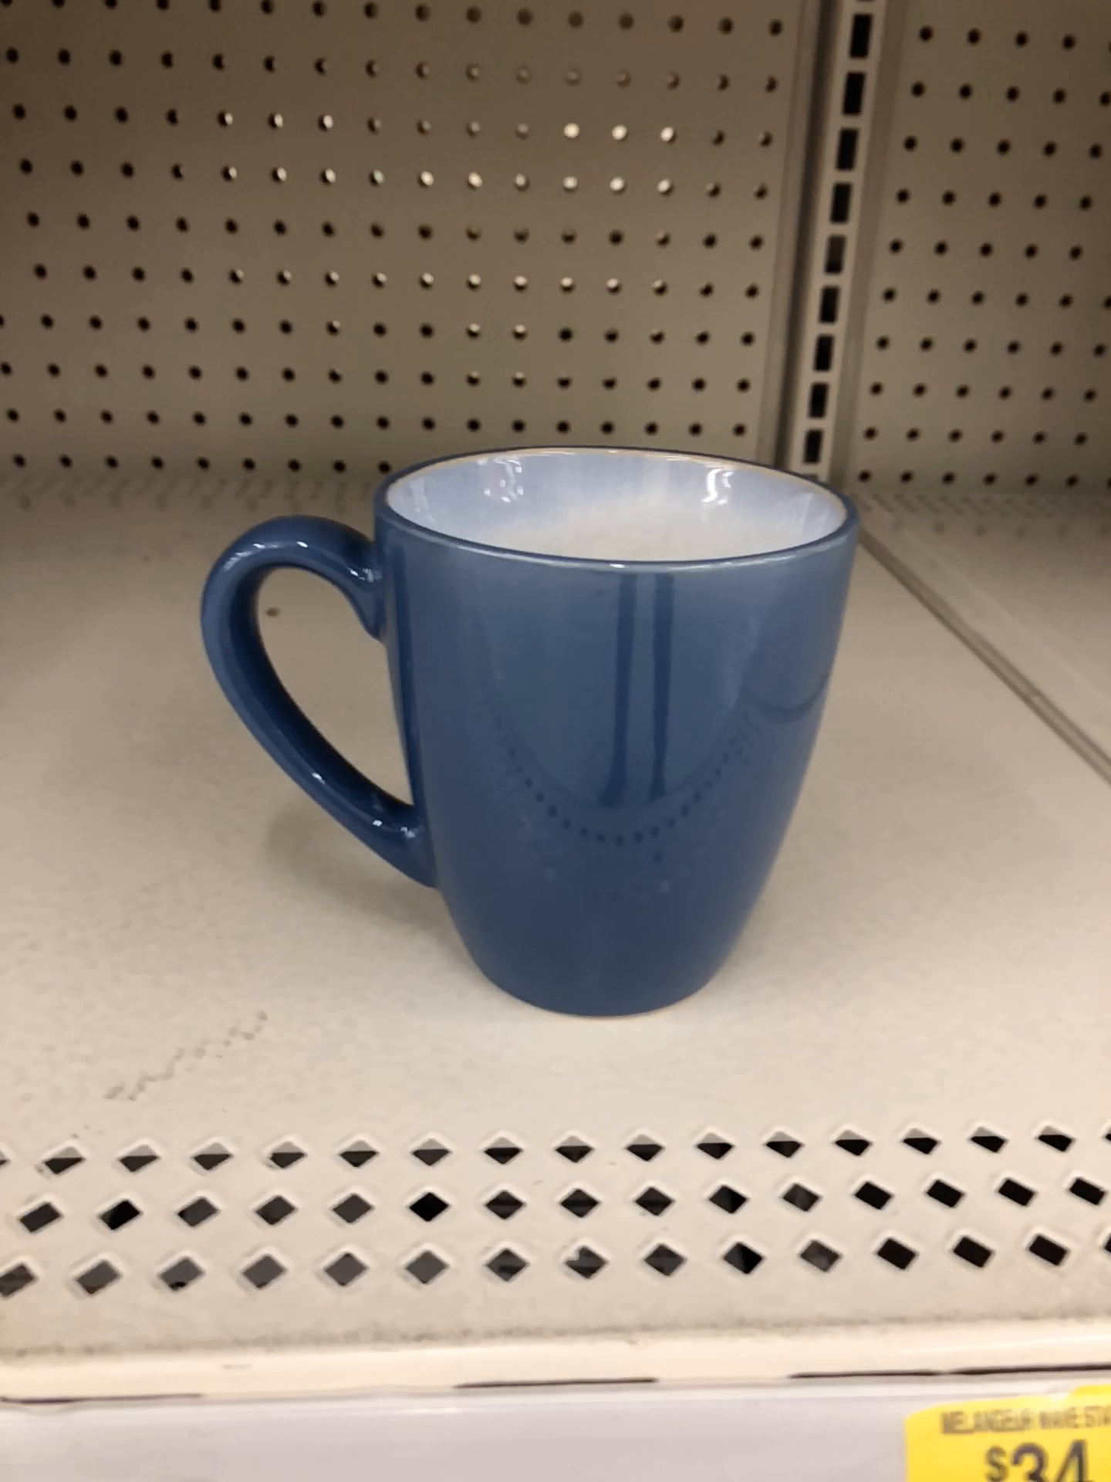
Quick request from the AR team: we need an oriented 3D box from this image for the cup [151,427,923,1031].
[{"bbox_3d":[-0.005,-0.008,0.268,0.127,0.098,0.097,1,25,-2],"label":"cup"}]
